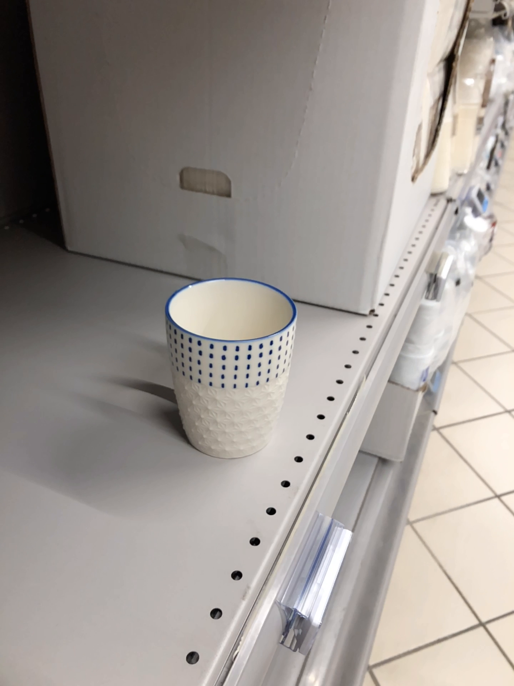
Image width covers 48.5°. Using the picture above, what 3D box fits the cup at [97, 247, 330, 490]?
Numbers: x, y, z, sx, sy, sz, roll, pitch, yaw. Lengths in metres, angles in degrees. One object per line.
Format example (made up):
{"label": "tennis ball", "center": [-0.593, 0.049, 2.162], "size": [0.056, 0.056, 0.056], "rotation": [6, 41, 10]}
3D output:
{"label": "cup", "center": [-0.032, 0.009, 0.392], "size": [0.097, 0.096, 0.119], "rotation": [-24, 42, -36]}
